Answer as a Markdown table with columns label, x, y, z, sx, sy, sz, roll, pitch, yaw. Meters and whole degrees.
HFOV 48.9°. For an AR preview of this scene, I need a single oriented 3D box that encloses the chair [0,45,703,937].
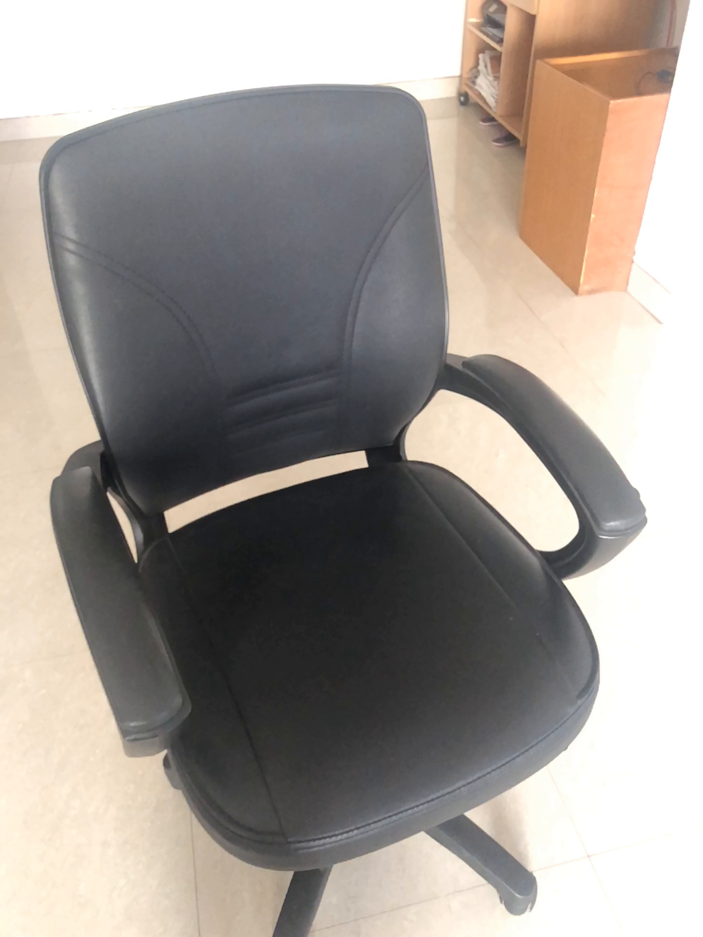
| label | x | y | z | sx | sy | sz | roll | pitch | yaw |
| --- | --- | --- | --- | --- | --- | --- | --- | --- | --- |
| chair | 0.000 | 0.117 | 0.945 | 0.701 | 0.953 | 0.634 | -16 | 42 | -16 |
